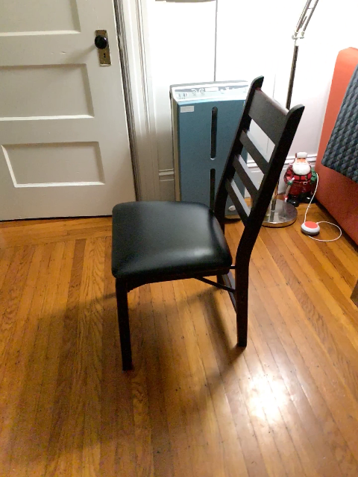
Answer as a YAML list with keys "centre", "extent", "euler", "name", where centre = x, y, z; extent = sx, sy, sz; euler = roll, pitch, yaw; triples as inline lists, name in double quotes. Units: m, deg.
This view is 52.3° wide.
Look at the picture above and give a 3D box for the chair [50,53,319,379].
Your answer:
- centre: [-0.009, -0.067, 1.178]
  extent: [0.550, 0.865, 0.493]
  euler: [-7, 35, -7]
  name: "chair"
